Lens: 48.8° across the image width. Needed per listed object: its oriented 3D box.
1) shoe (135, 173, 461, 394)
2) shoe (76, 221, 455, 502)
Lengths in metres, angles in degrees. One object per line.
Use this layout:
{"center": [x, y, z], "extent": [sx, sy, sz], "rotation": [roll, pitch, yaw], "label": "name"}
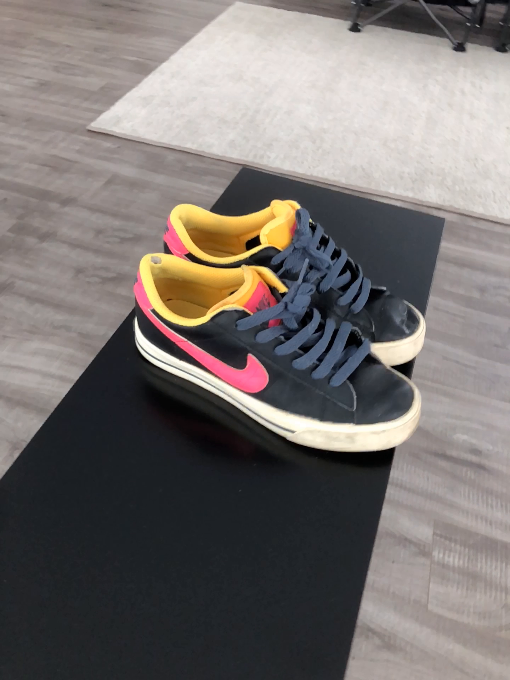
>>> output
{"center": [0.034, -0.051, 0.484], "extent": [0.244, 0.100, 0.090], "rotation": [15, 50, 10], "label": "shoe"}
{"center": [0.005, 0.011, 0.426], "extent": [0.244, 0.100, 0.095], "rotation": [20, 51, 14], "label": "shoe"}
